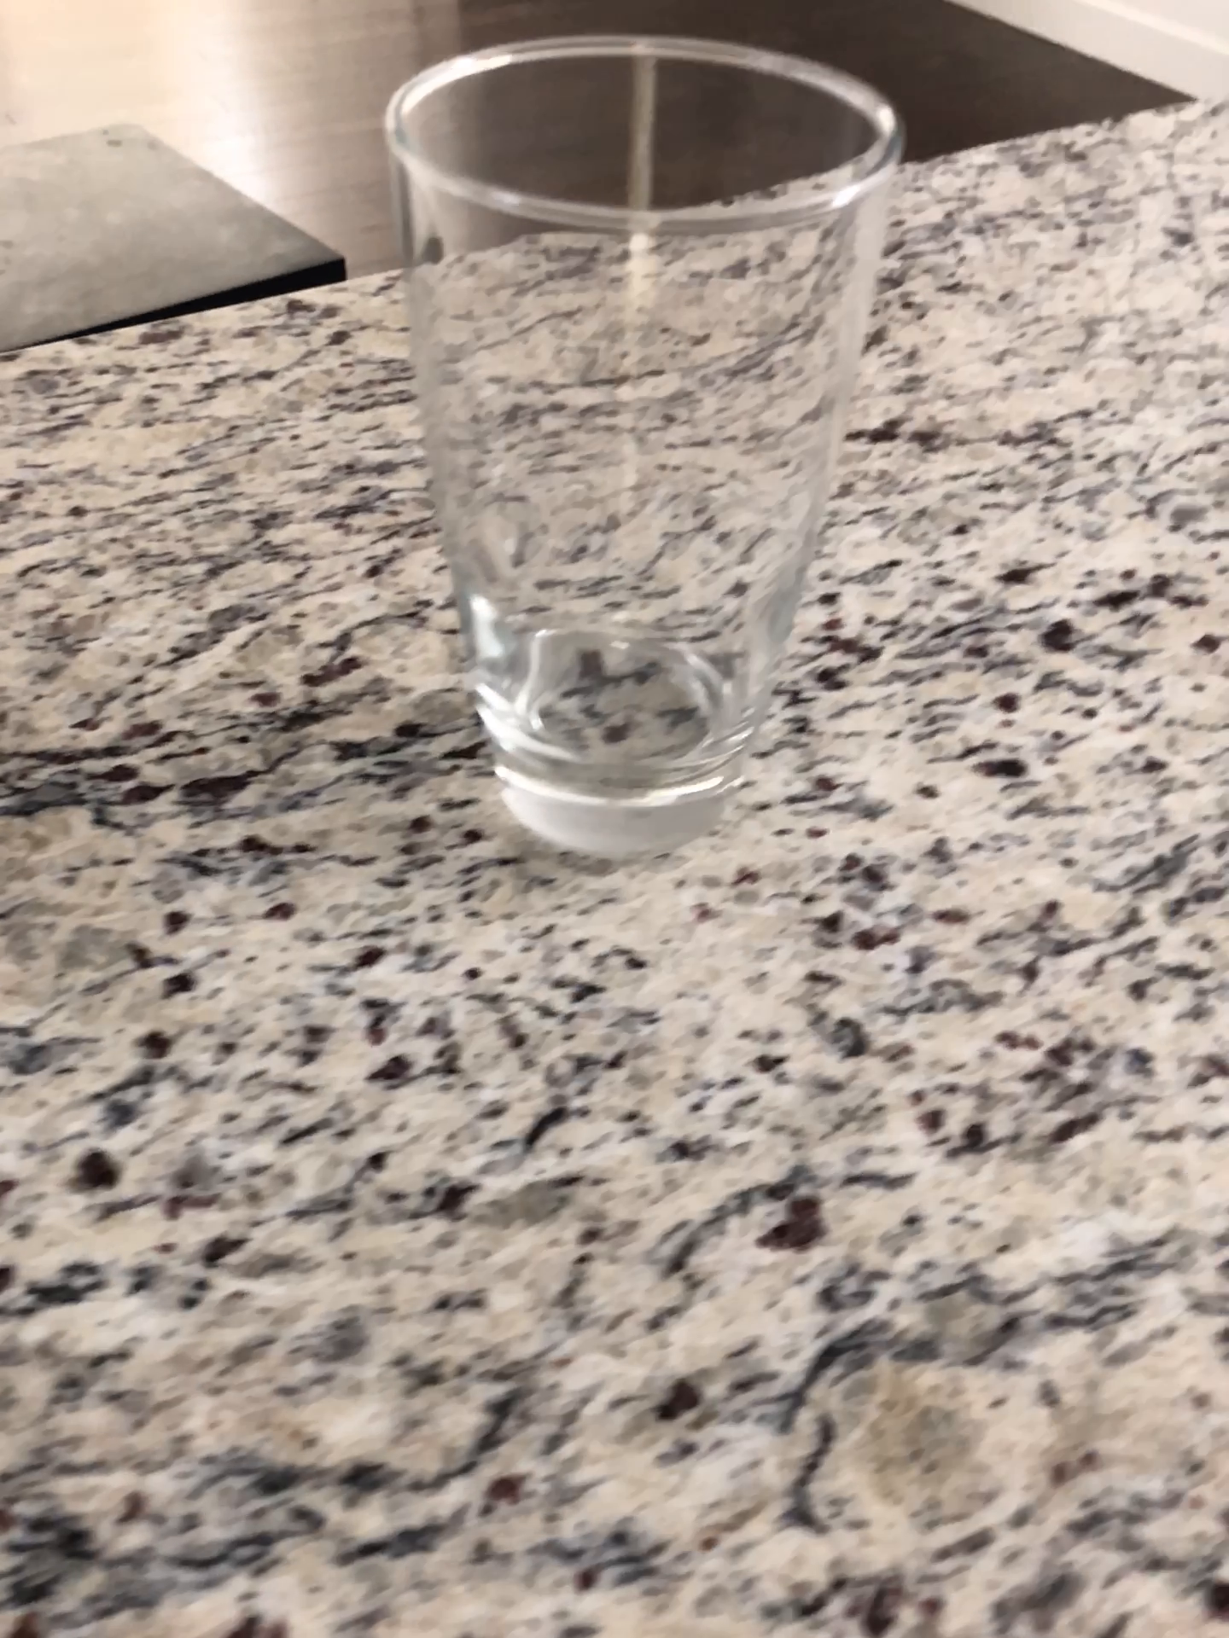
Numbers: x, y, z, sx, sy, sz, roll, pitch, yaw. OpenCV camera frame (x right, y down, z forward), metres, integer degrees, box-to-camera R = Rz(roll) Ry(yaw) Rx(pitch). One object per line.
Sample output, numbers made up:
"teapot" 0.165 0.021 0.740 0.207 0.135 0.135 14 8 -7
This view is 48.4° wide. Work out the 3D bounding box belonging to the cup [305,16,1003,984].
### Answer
"cup" 0.009 -0.058 0.260 0.080 0.139 0.091 18 46 16
